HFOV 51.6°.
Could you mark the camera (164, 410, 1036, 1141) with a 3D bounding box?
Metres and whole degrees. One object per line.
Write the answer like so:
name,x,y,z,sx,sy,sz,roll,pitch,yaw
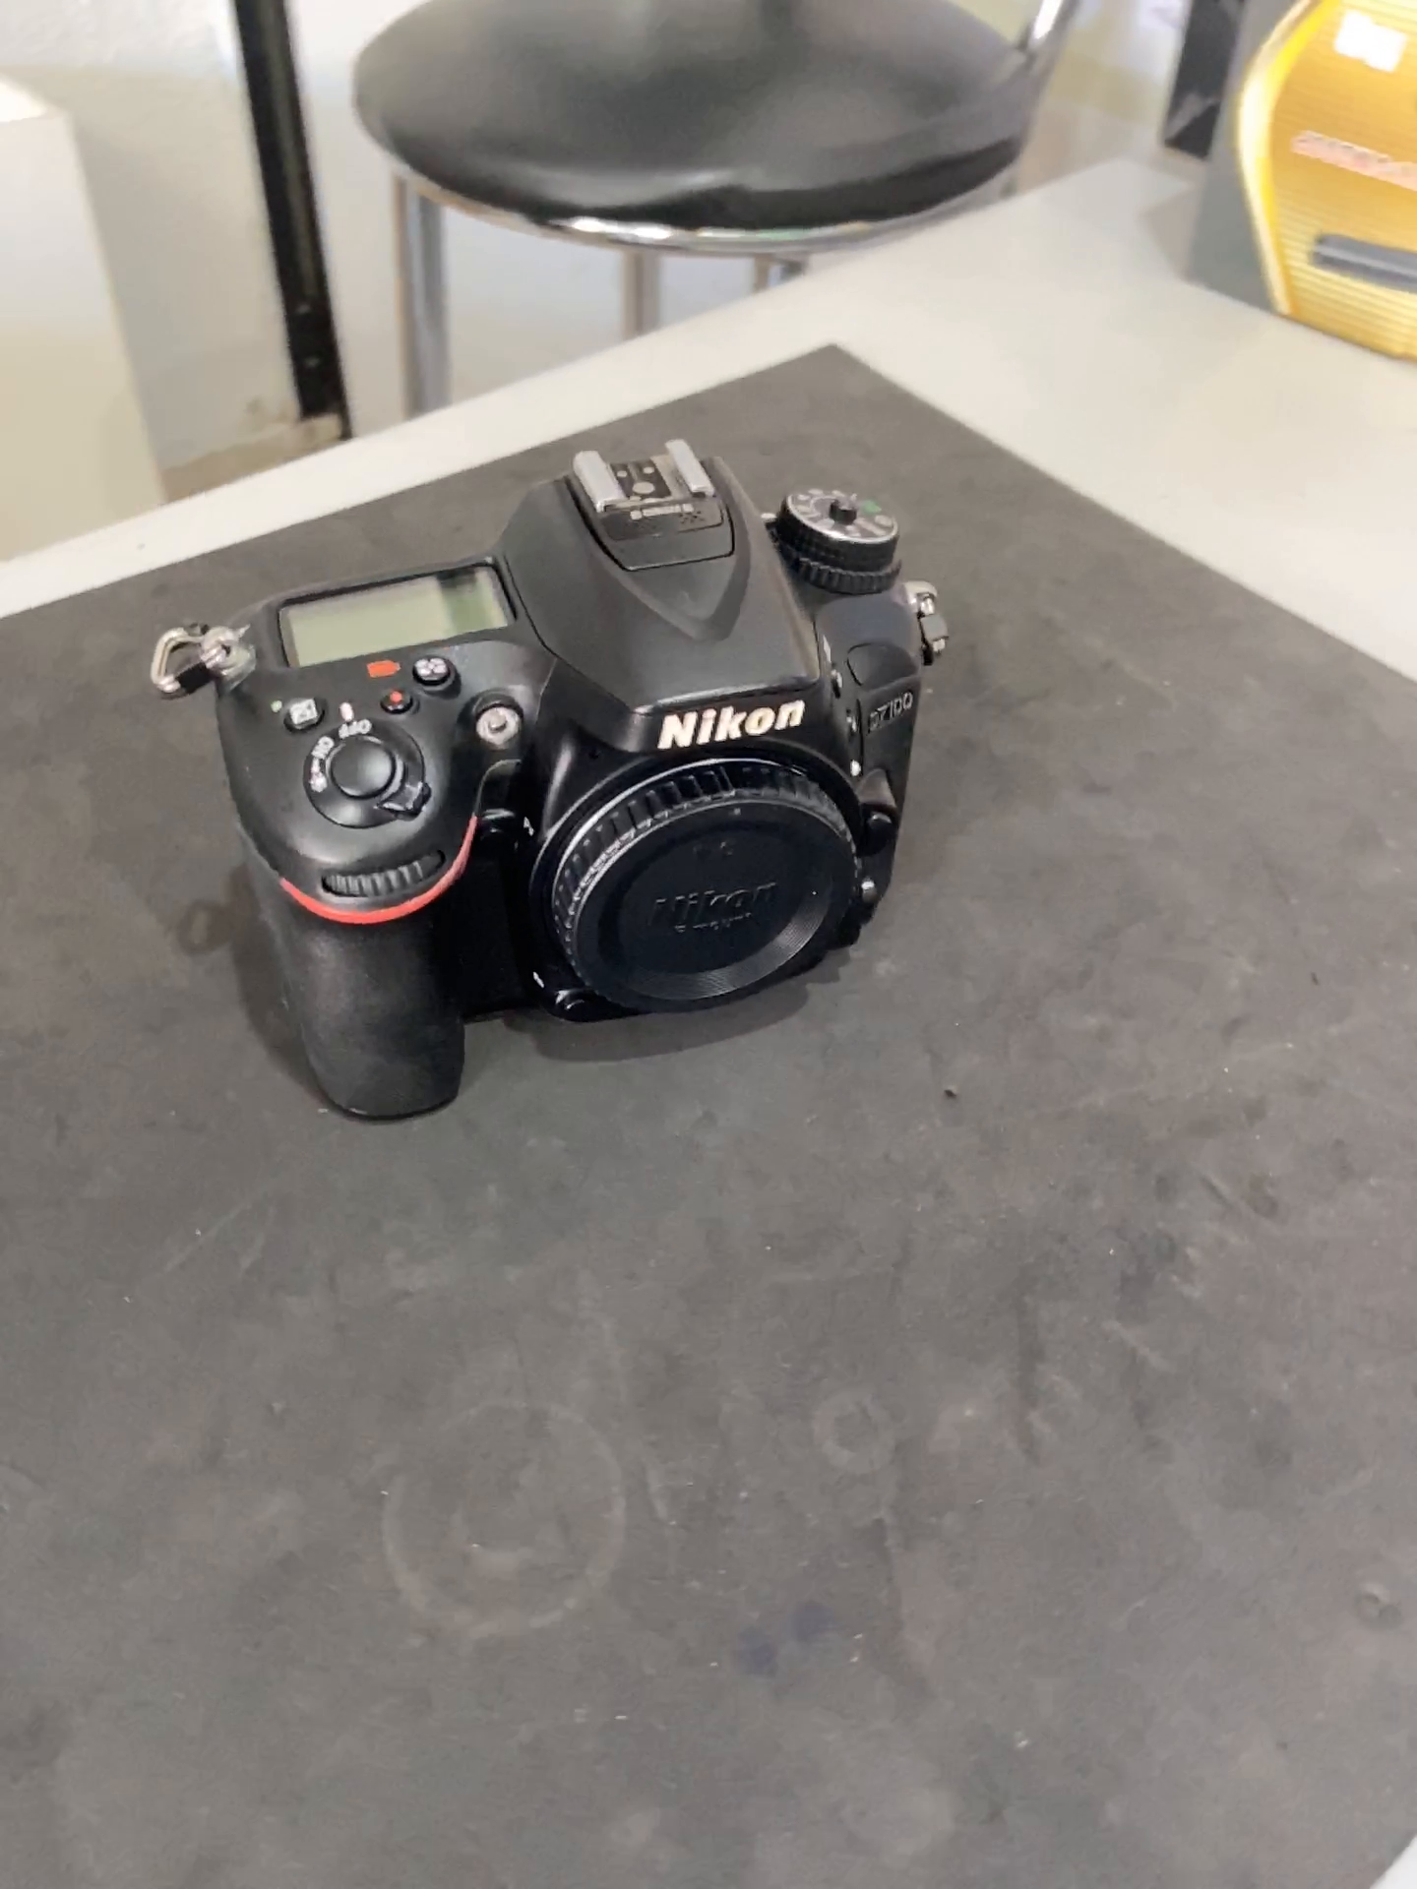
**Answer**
camera,-0.022,-0.037,0.298,0.140,0.092,0.078,-15,48,-16
